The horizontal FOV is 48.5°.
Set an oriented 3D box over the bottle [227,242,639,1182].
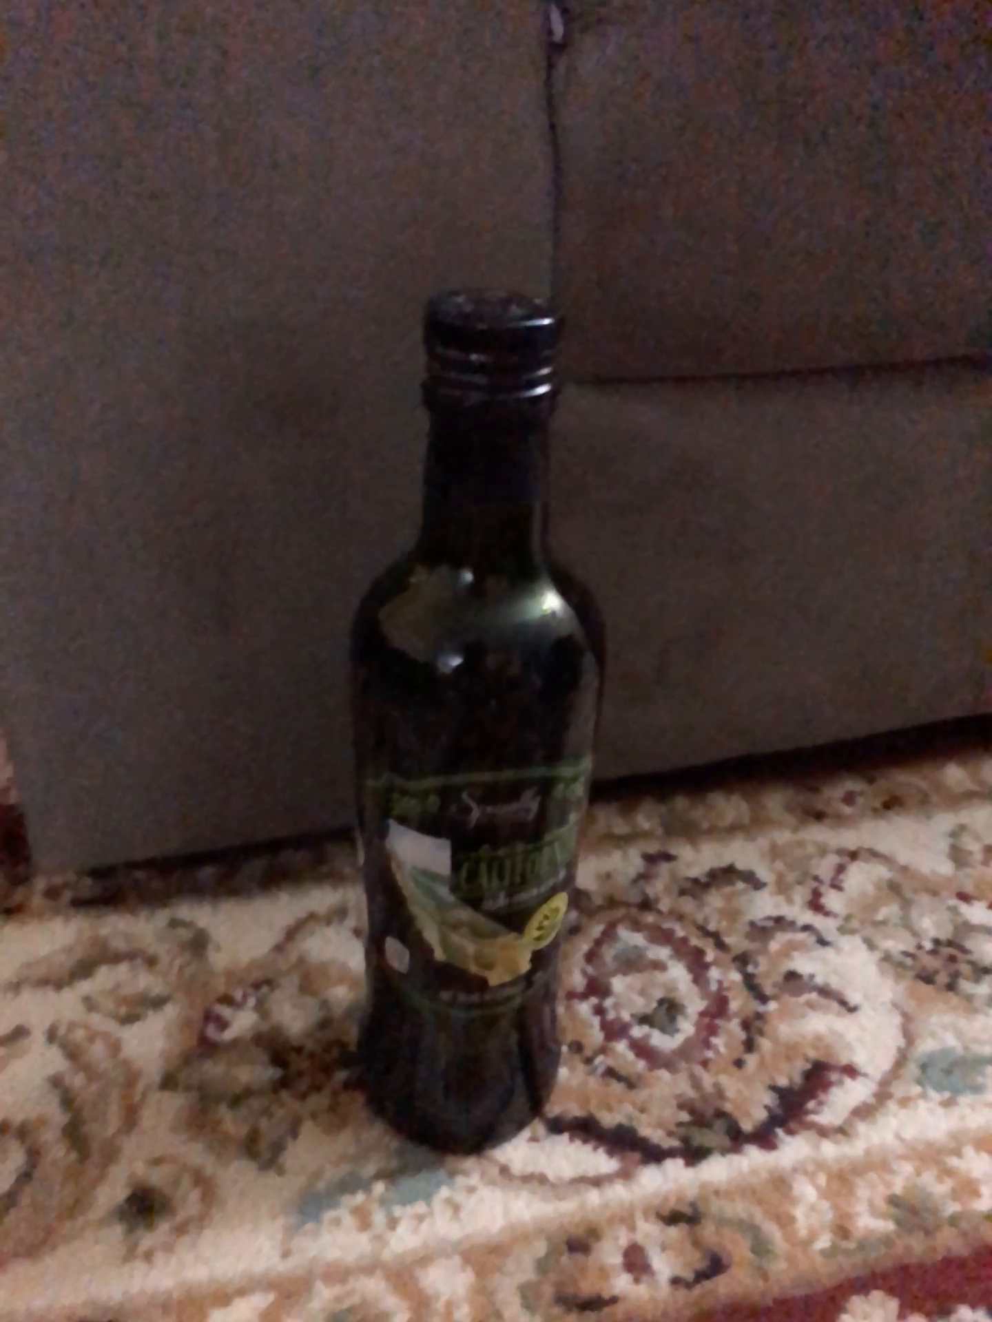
[{"bbox_3d":[-0.019,0.025,0.314,0.080,0.259,0.070,-8,30,-14],"label":"bottle"}]
